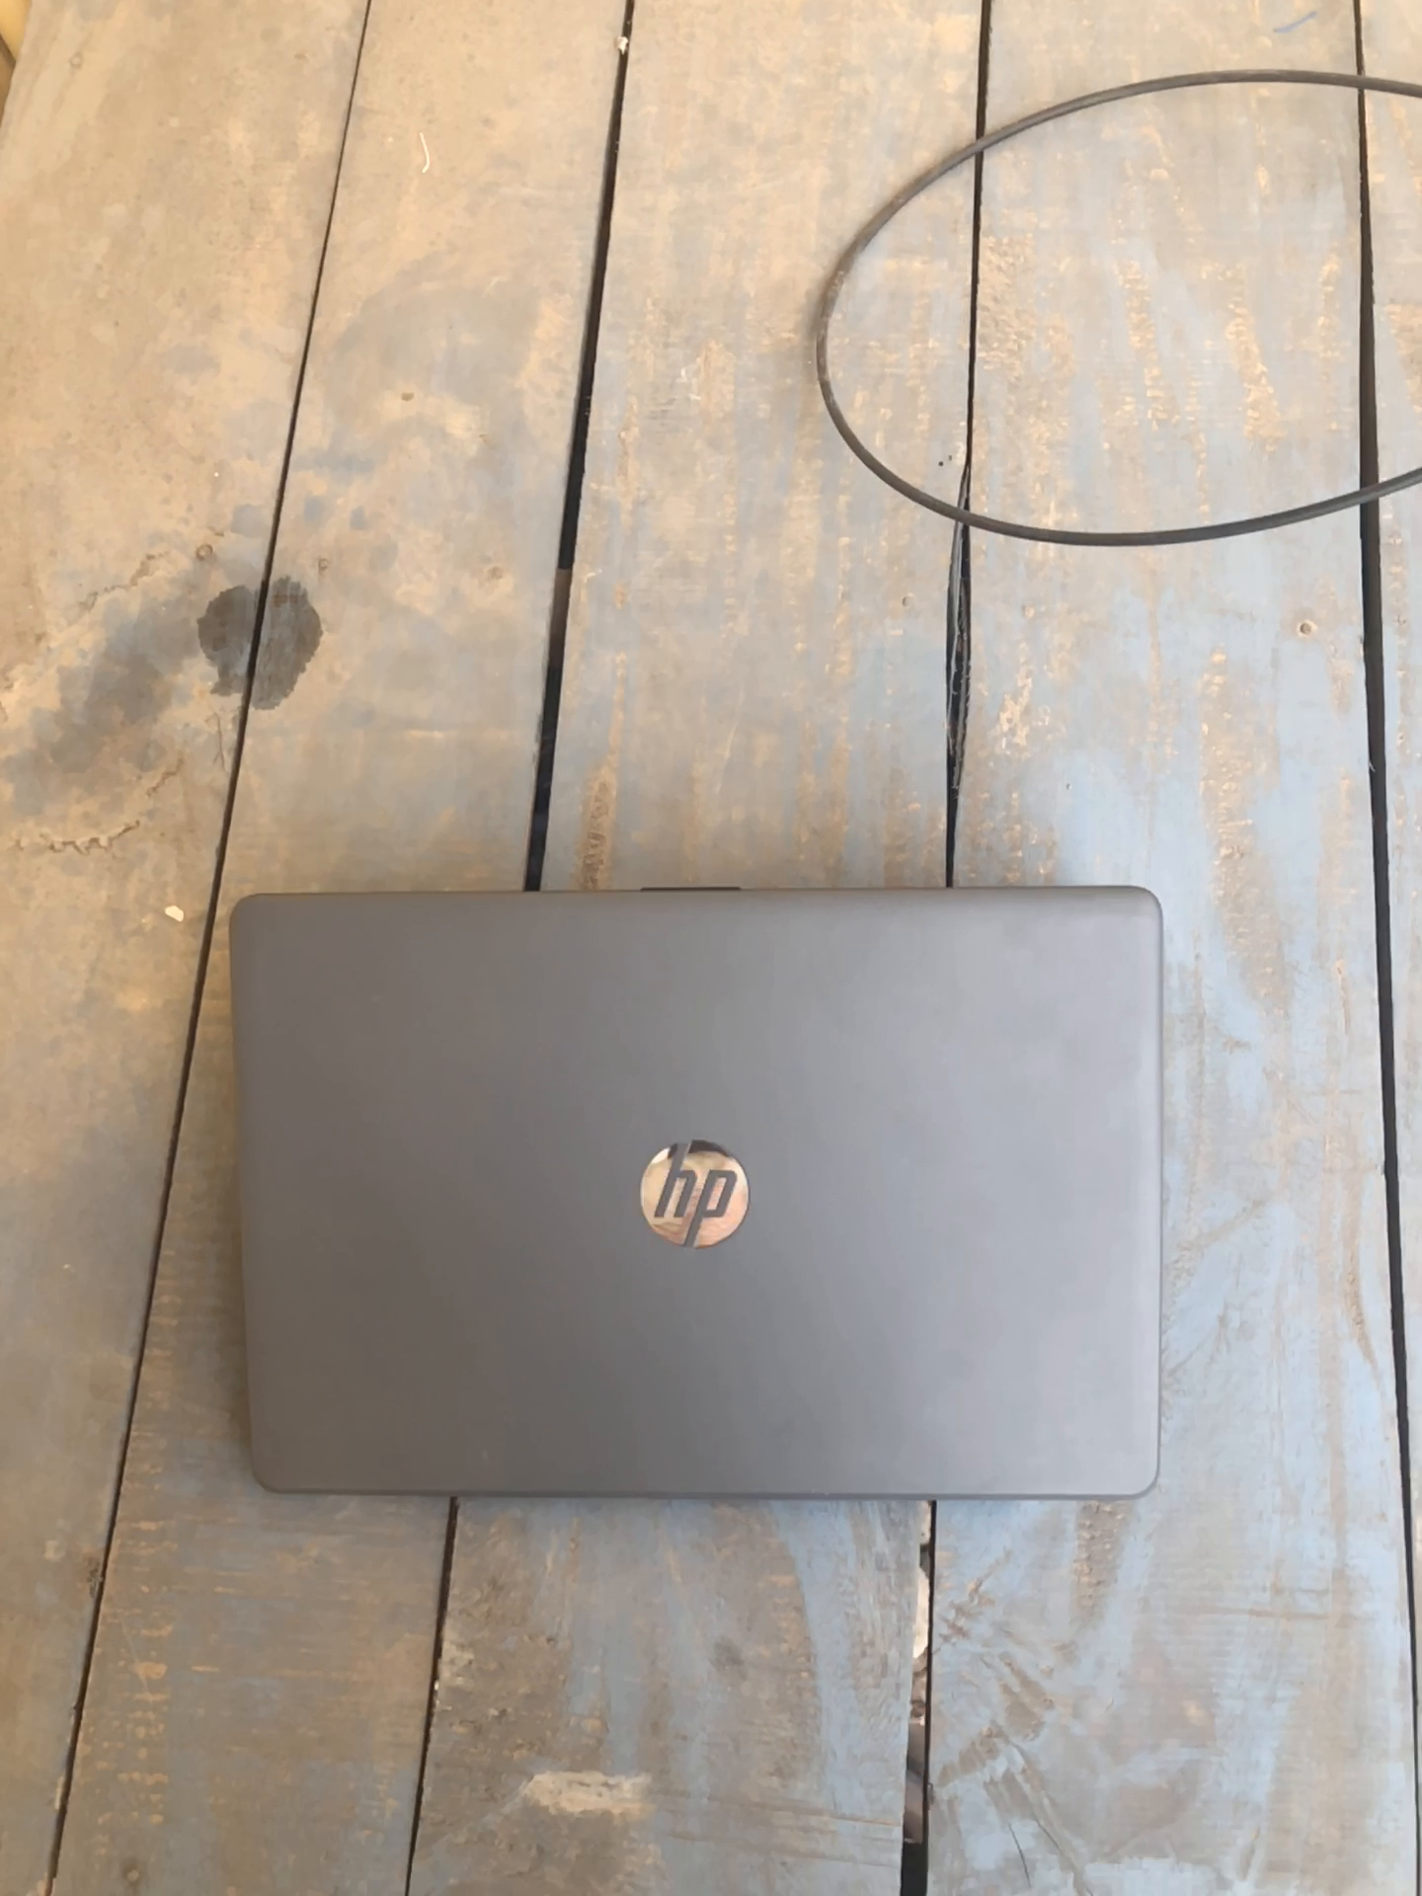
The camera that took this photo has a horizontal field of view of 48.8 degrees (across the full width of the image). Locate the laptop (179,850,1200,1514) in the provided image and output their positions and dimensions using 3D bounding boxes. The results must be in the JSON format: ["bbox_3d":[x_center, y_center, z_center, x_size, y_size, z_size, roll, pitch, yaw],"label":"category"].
[{"bbox_3d":[-0.008,0.093,0.632,0.361,0.097,0.243,0,74,3],"label":"laptop"}]
